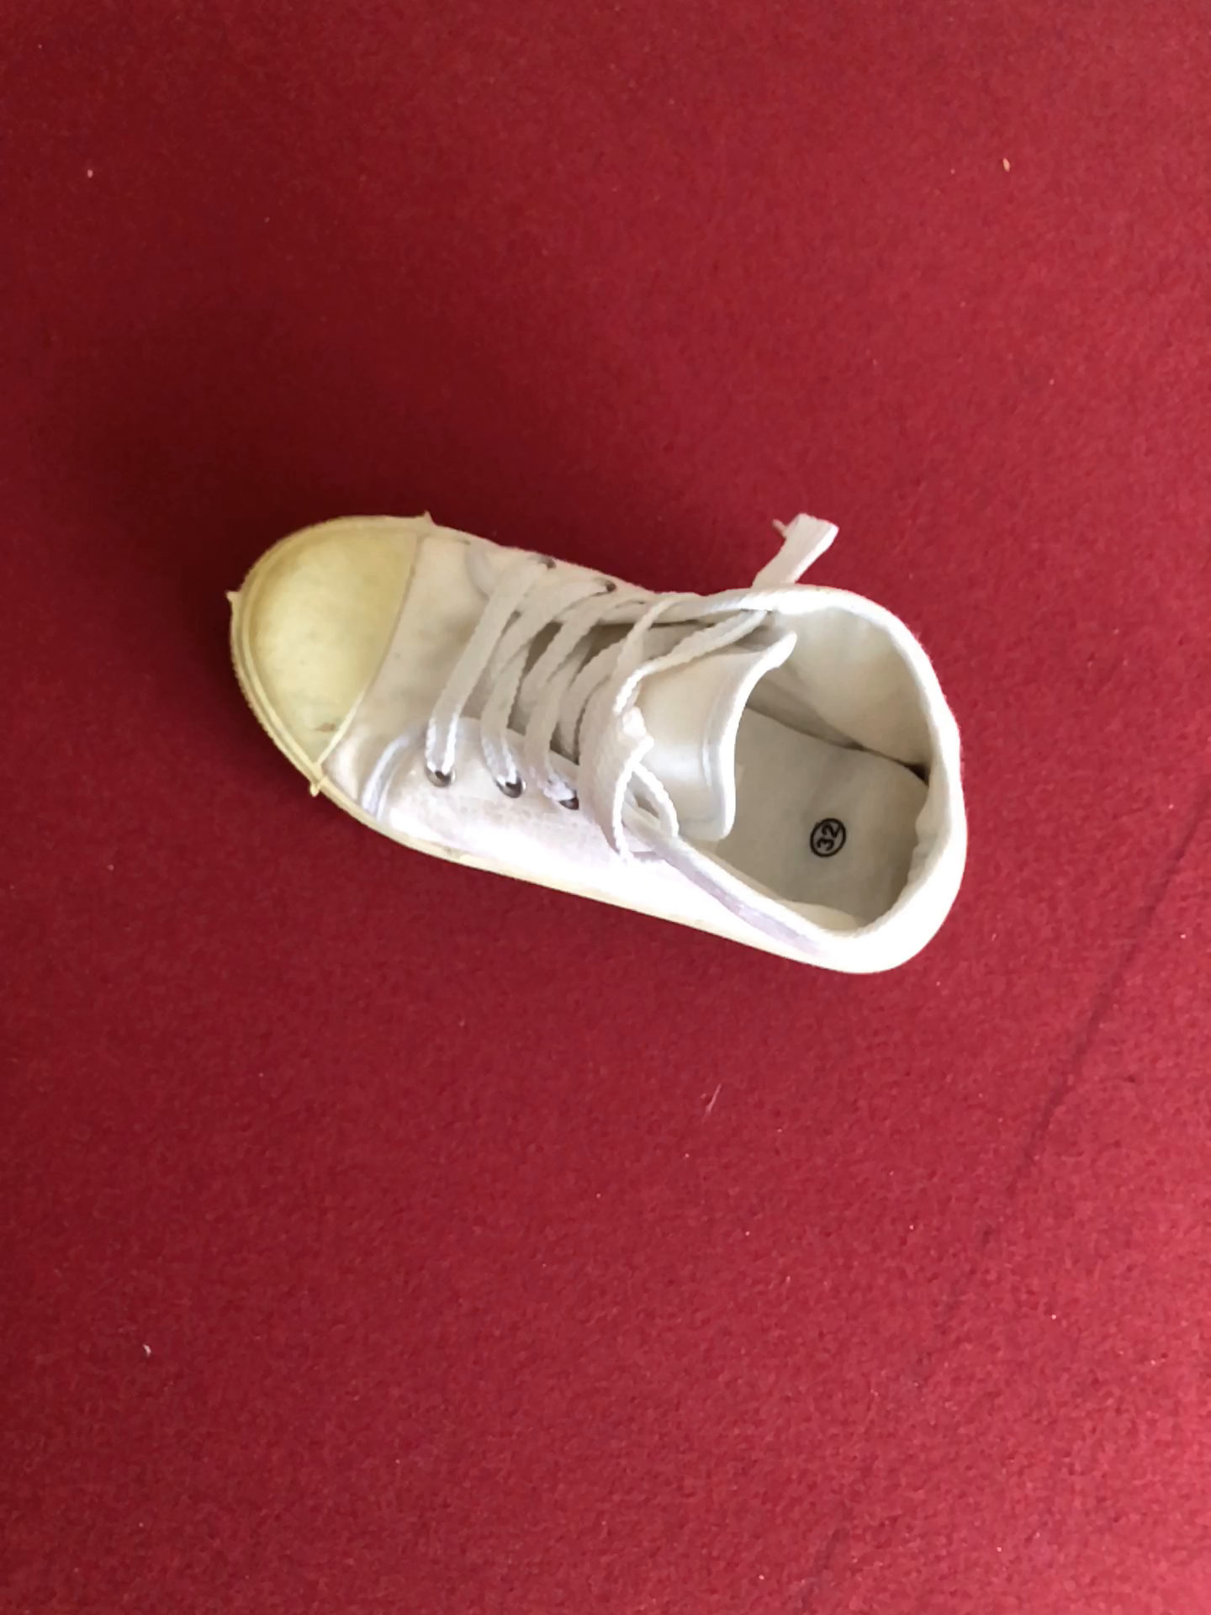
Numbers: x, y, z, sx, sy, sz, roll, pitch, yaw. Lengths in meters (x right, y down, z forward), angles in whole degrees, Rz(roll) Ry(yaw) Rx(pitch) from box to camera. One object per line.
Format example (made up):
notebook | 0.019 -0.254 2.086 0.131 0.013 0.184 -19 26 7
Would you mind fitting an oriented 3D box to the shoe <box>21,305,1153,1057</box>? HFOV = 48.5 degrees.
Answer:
shoe | -0.003 -0.023 0.329 0.220 0.090 0.100 18 82 0
